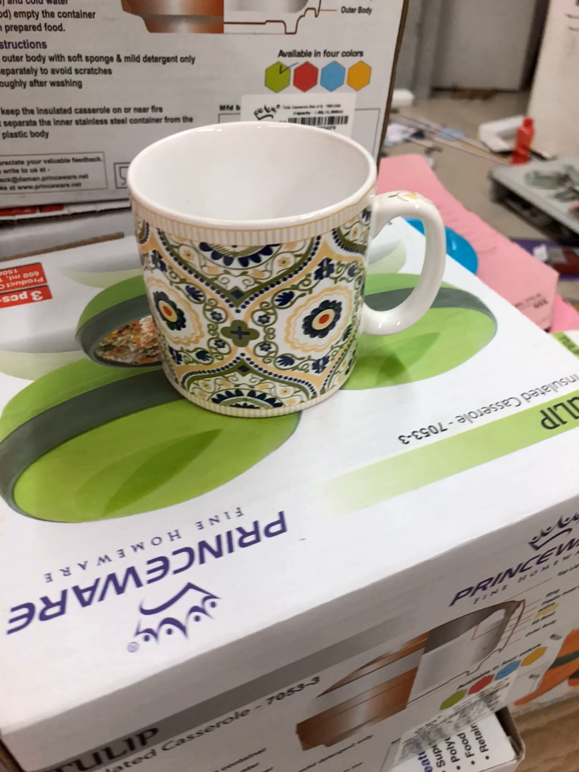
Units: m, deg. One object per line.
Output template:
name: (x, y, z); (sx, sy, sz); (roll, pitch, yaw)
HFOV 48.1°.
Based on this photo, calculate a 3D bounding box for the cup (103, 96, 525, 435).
cup: (0.004, -0.043, 0.218); (0.110, 0.079, 0.070); (-6, 39, -6)
